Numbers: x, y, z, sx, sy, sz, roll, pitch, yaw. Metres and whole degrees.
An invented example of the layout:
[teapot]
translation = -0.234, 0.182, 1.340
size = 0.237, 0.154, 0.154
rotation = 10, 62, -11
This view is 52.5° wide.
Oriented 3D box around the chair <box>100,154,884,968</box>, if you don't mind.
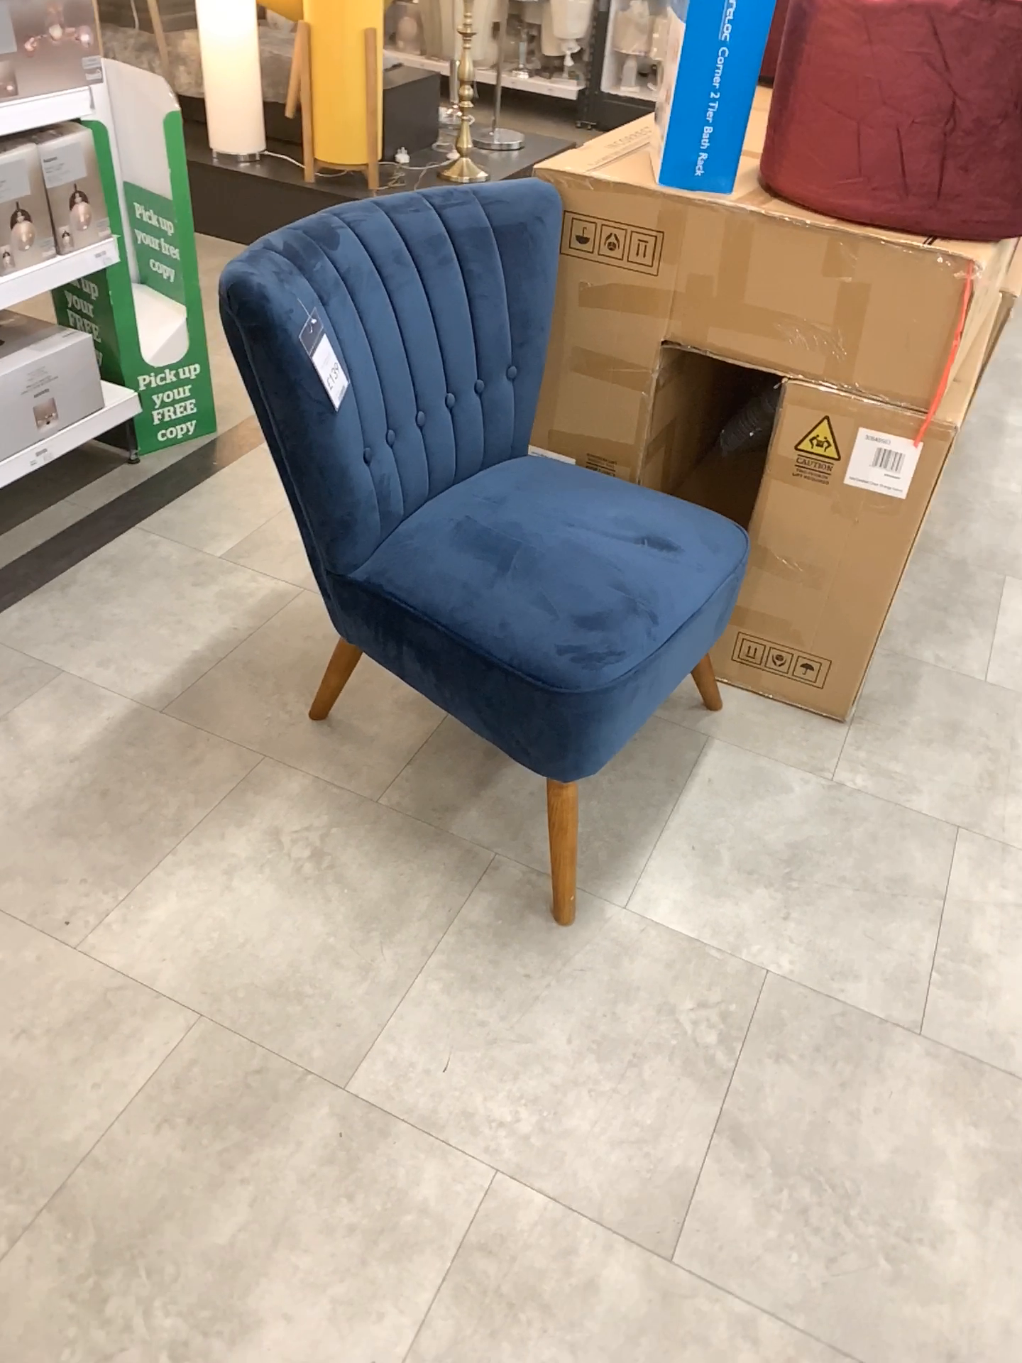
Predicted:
[chair]
translation = -0.010, -0.235, 1.573
size = 0.727, 0.789, 0.735
rotation = 24, 43, 21
